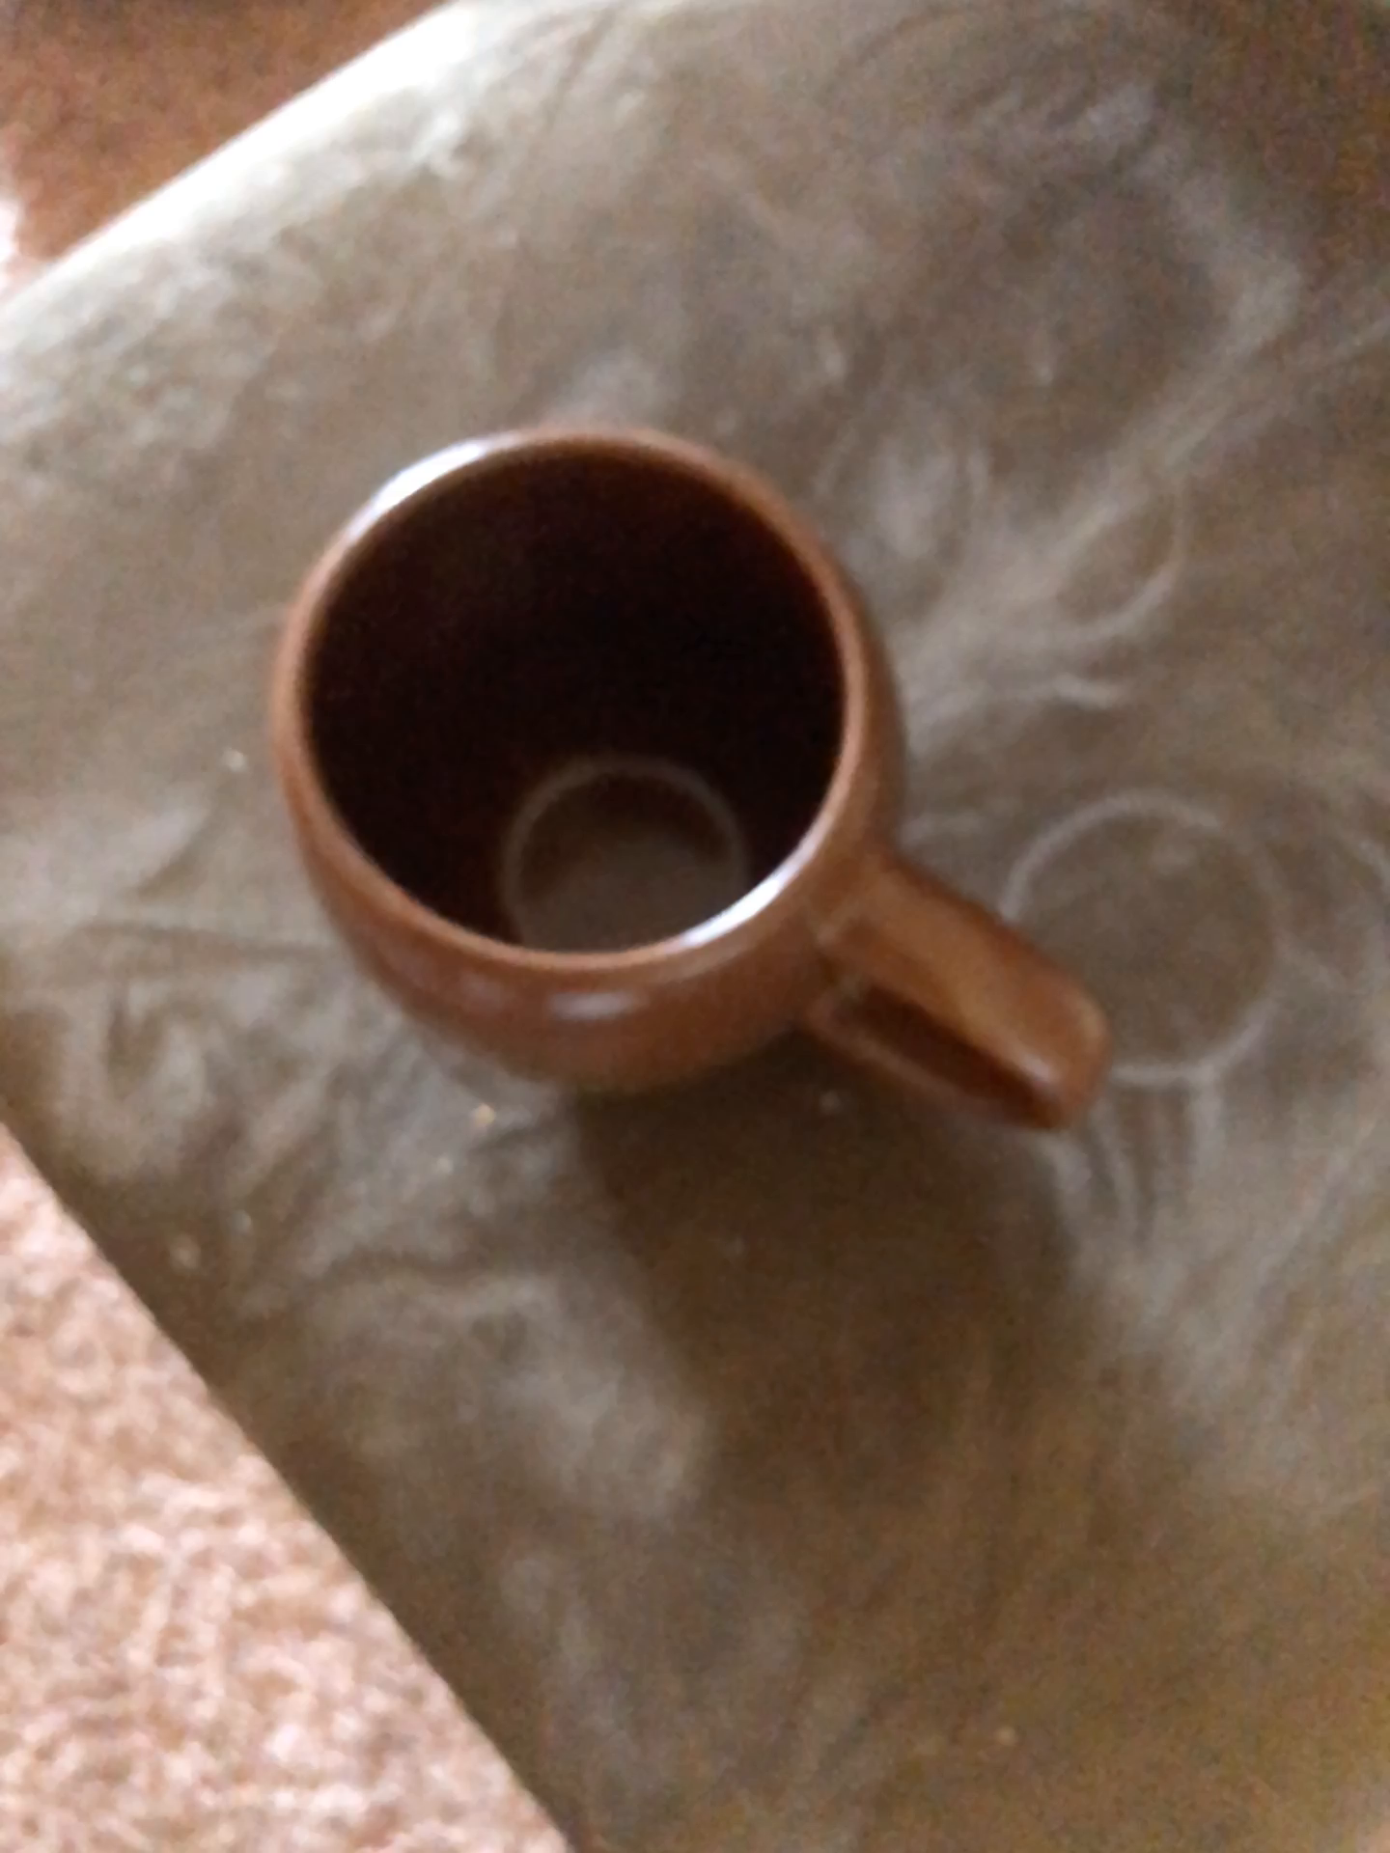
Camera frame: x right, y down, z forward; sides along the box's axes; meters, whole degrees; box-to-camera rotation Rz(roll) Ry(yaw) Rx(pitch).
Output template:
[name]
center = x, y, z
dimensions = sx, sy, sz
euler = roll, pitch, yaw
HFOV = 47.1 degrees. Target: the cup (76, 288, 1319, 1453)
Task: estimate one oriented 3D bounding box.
[cup]
center = -0.001, -0.003, 0.261
dimensions = 0.140, 0.100, 0.090
euler = 39, 81, 6
